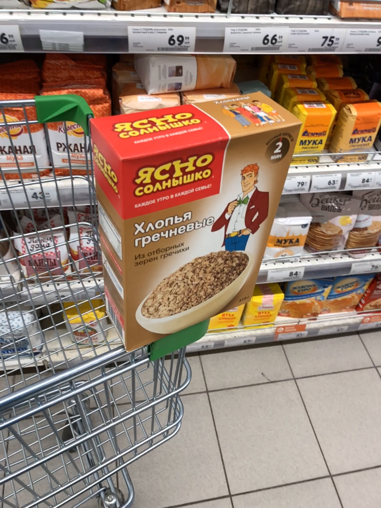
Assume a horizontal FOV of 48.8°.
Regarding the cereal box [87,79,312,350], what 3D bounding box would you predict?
[{"bbox_3d":[0.000,-0.024,0.331,0.130,0.189,0.060,-18,50,-22],"label":"cereal box"}]
